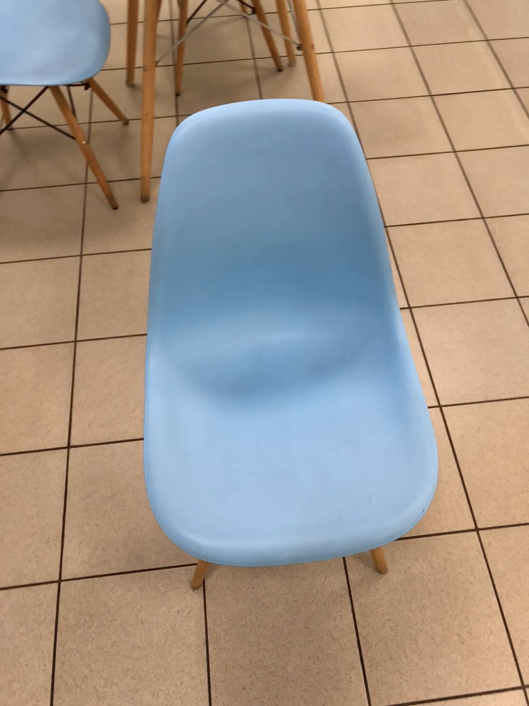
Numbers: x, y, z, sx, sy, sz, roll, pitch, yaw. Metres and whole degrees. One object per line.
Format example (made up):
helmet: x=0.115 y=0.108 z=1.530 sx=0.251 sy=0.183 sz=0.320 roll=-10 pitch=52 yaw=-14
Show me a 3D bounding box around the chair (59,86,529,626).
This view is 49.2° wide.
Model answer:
chair: x=0.024 y=0.084 z=0.999 sx=0.470 sy=0.777 sz=0.572 roll=-6 pitch=59 yaw=-3
